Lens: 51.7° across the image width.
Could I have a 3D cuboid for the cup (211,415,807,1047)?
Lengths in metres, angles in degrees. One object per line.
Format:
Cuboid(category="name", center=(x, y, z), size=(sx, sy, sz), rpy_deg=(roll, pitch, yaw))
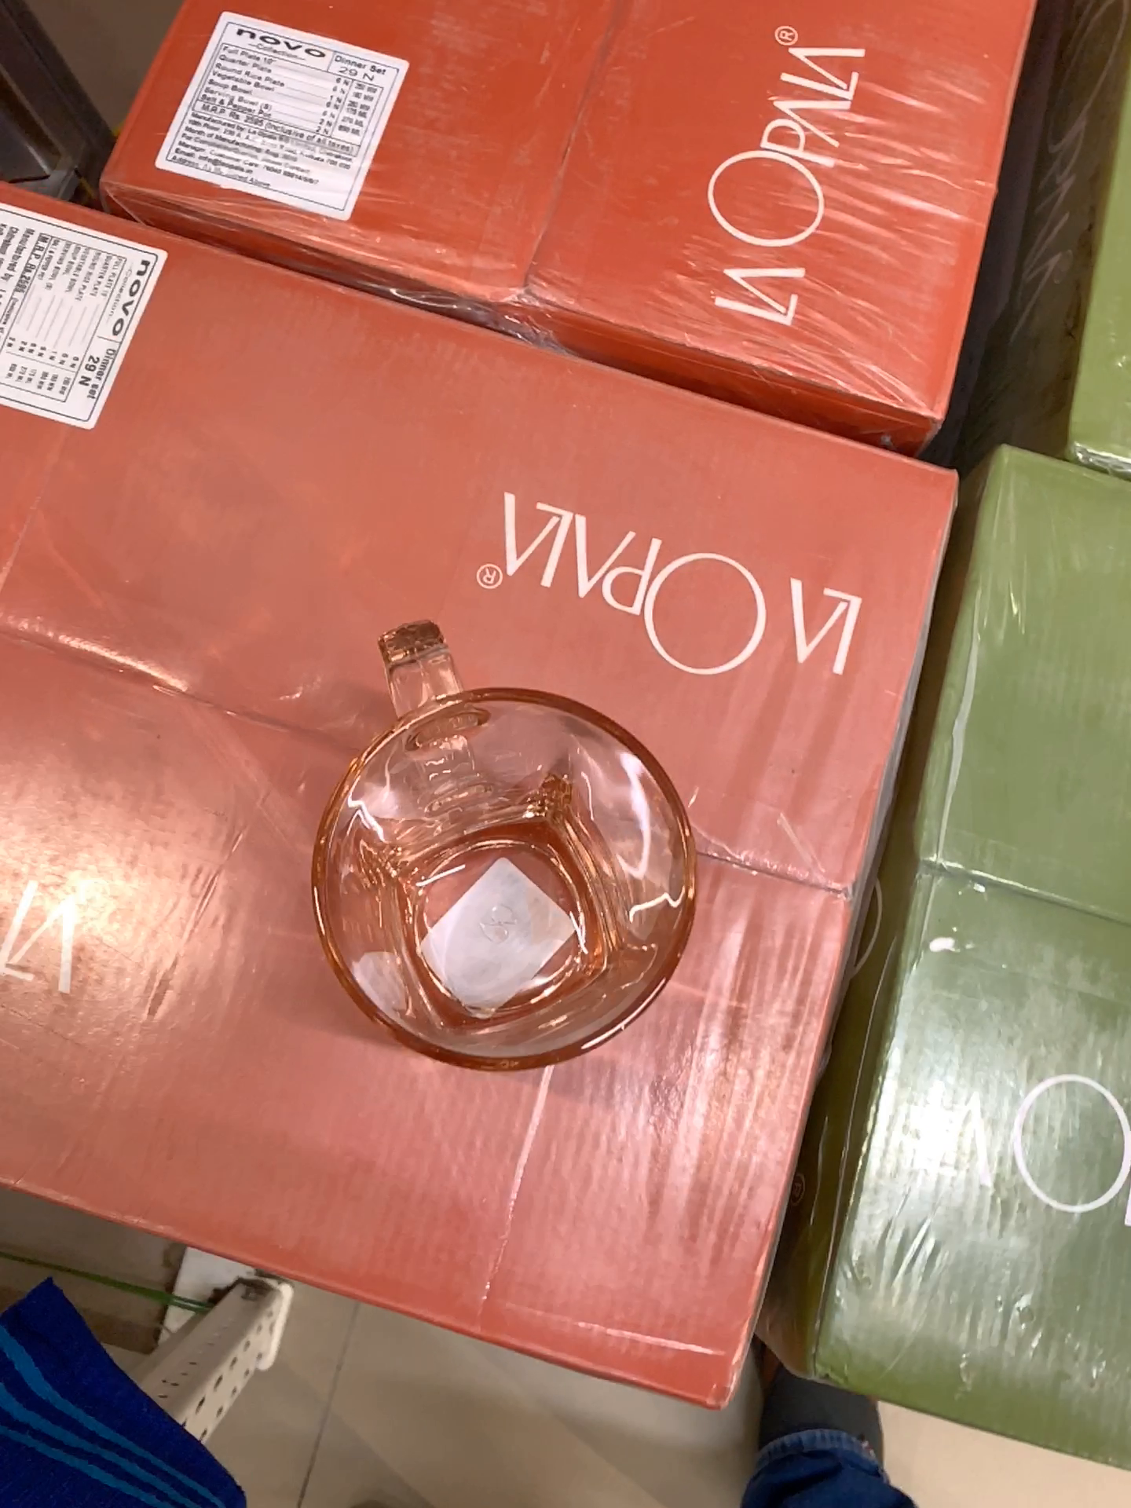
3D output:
Cuboid(category="cup", center=(-0.015, 0.005, 0.271), size=(0.080, 0.110, 0.100), rpy_deg=(-21, 78, -9))
